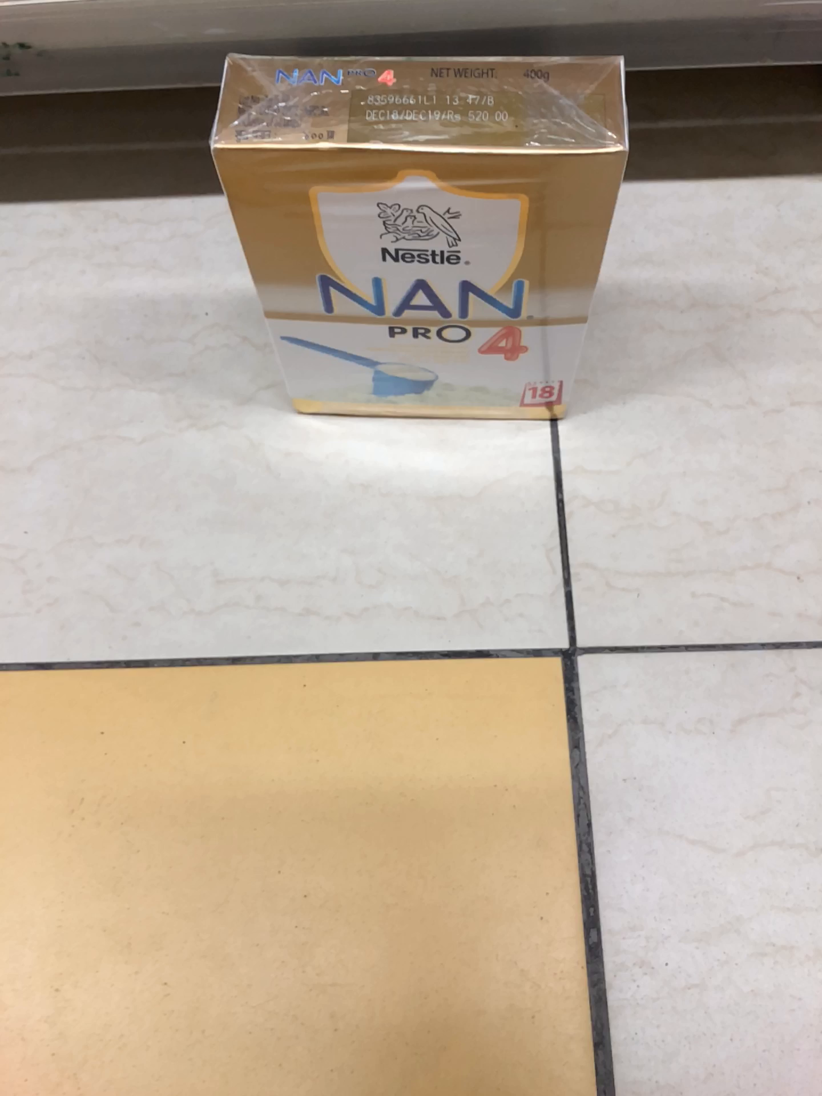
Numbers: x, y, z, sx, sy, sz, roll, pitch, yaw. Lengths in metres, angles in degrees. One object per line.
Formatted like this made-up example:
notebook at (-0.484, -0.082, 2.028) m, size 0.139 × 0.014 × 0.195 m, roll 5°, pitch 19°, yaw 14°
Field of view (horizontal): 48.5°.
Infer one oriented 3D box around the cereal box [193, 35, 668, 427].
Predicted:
cereal box at (0.009, -0.124, 0.404) m, size 0.160 × 0.189 × 0.050 m, roll 1°, pitch 68°, yaw 2°
